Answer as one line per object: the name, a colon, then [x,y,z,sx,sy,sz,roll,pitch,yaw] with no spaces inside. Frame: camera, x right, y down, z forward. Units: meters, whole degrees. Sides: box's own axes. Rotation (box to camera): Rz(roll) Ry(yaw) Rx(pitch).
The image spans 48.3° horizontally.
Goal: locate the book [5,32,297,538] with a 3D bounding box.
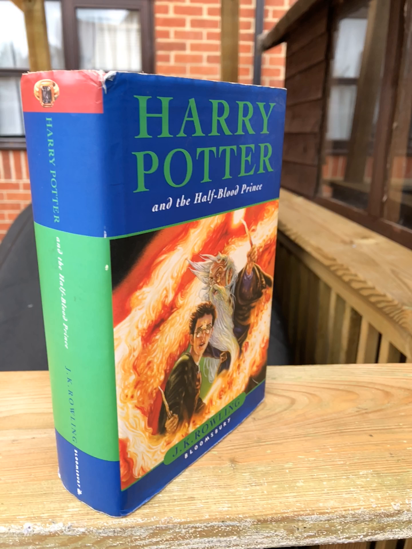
book: [-0.017,-0.001,0.252,0.060,0.209,0.140,13,20,35]
